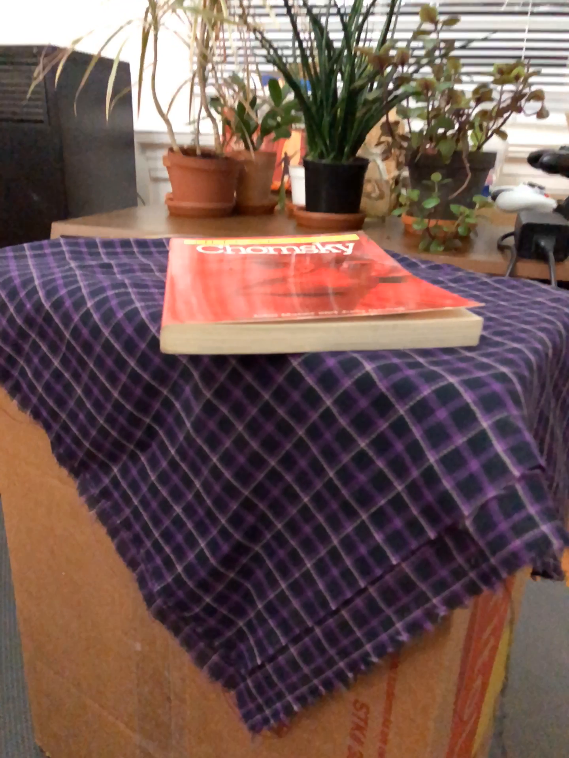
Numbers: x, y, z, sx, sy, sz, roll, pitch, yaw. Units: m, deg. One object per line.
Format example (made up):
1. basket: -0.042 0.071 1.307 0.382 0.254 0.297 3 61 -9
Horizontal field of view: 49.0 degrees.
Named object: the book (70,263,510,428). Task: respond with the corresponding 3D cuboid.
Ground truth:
1. book: -0.012 -0.035 0.367 0.180 0.020 0.241 -2 21 -9
